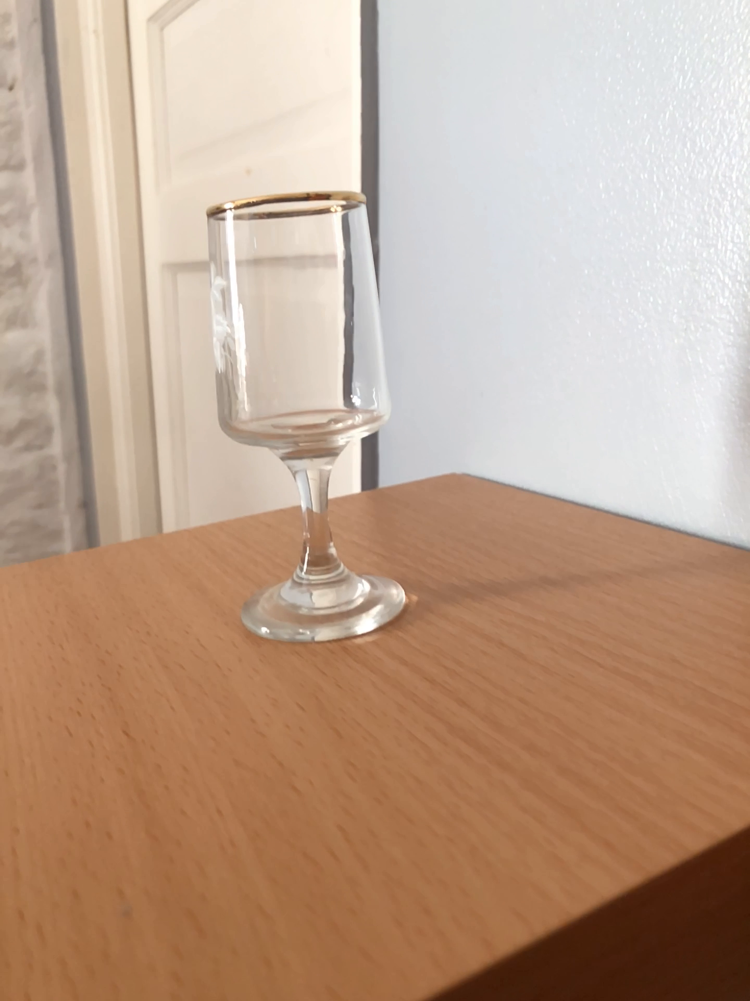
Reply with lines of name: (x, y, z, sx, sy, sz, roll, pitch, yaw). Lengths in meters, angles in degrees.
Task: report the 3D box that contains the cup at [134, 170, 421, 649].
cup: (-0.021, -0.024, 0.220, 0.056, 0.108, 0.052, -4, 13, 1)
